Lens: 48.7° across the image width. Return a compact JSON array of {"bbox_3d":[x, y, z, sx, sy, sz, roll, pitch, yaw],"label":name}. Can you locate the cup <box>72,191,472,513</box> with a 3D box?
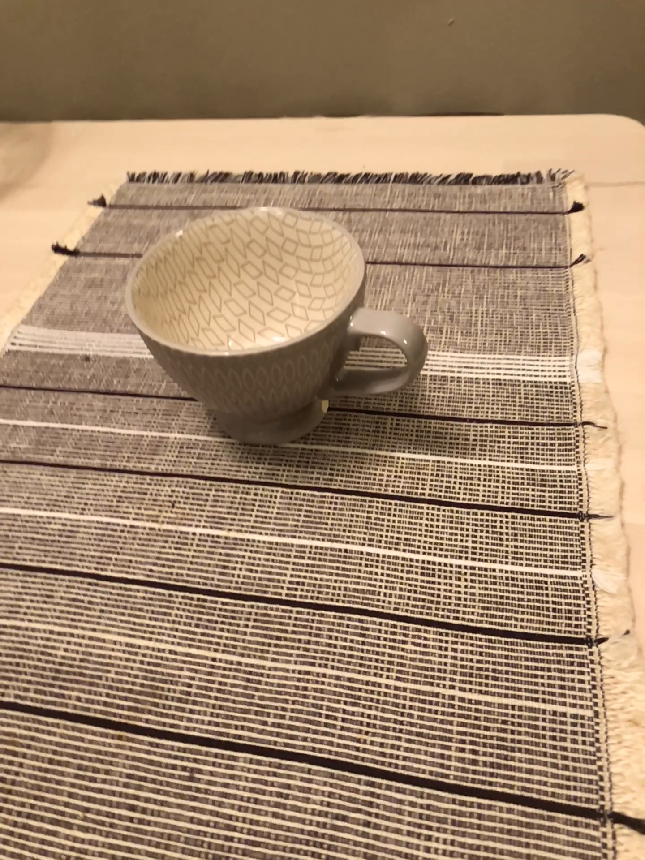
[{"bbox_3d":[-0.017,-0.045,0.352,0.150,0.080,0.111,14,51,20],"label":"cup"}]
